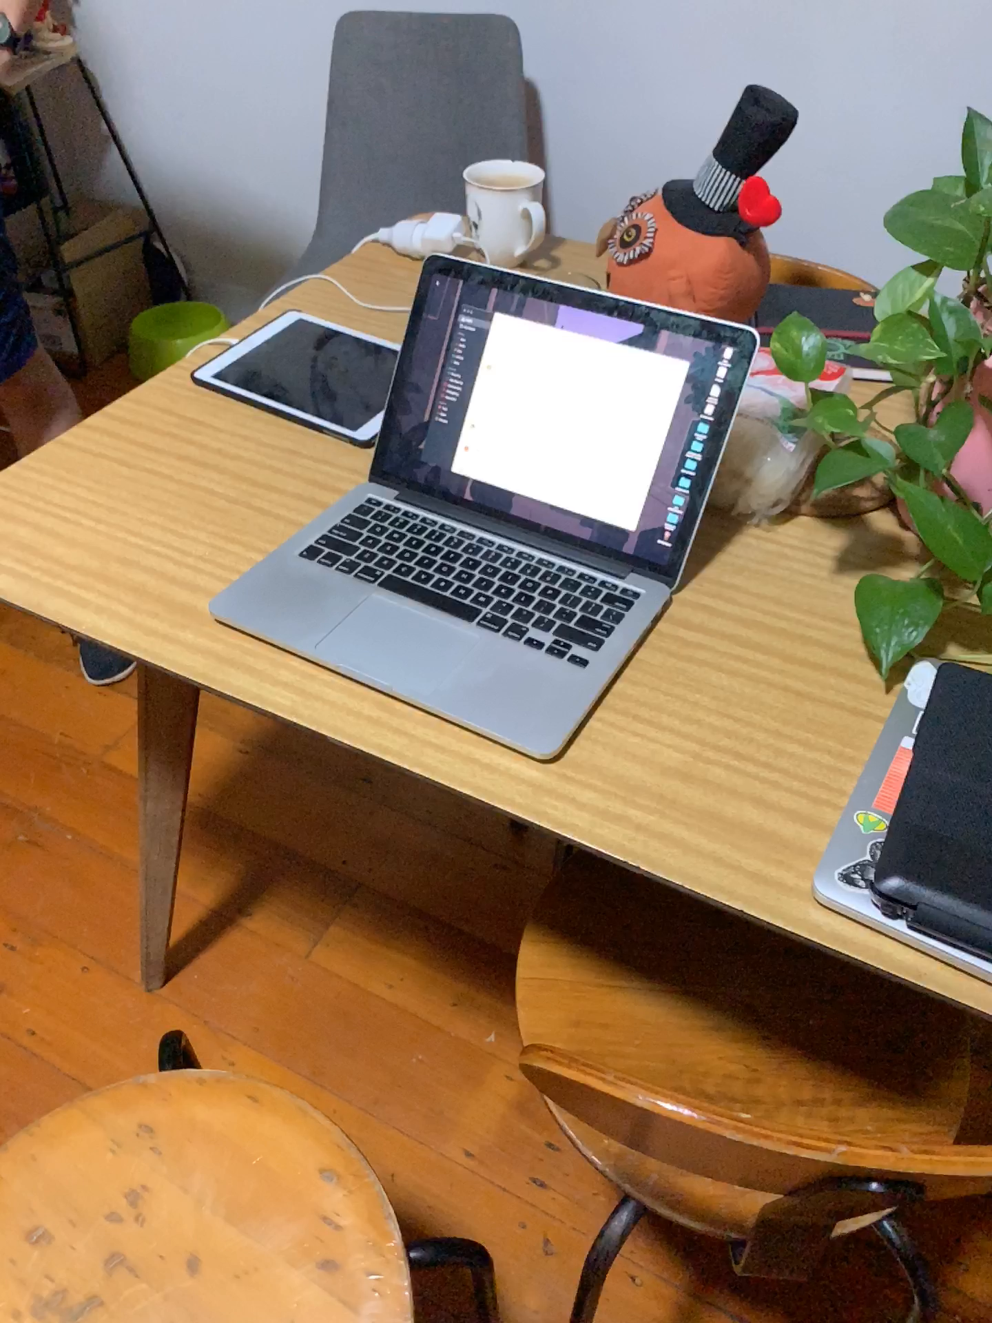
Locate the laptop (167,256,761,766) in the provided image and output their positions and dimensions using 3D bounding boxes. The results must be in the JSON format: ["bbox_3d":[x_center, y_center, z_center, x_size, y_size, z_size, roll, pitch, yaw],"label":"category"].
[{"bbox_3d":[-0.008,-0.125,0.676,0.264,0.144,0.288,22,46,23],"label":"laptop"}]
